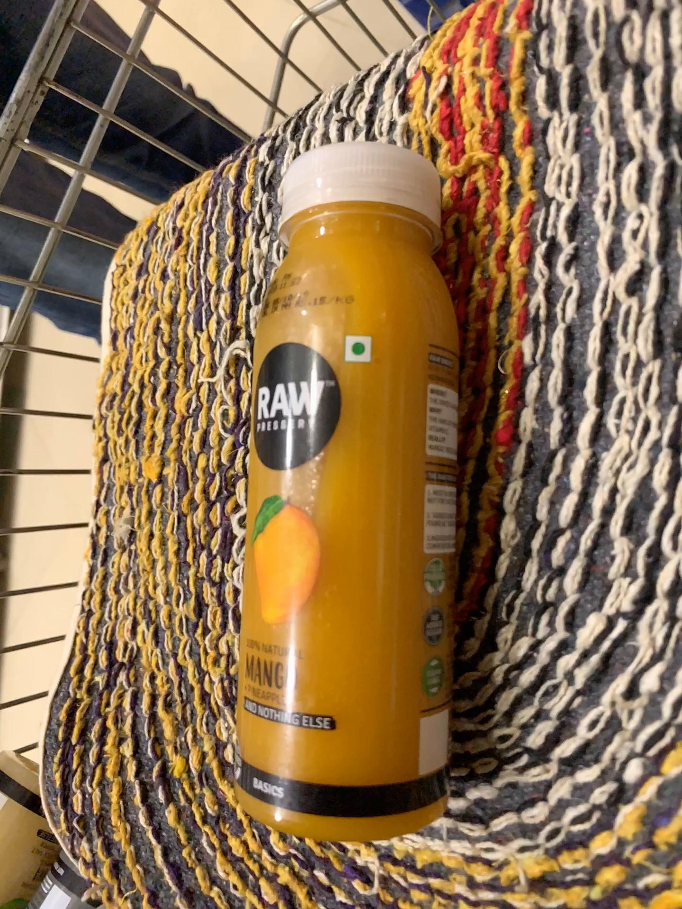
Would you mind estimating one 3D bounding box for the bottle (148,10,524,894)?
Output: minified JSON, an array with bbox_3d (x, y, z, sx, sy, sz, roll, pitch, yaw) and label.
[{"bbox_3d":[0.001,-0.003,0.173,0.060,0.050,0.170,-1,81,42],"label":"bottle"}]
